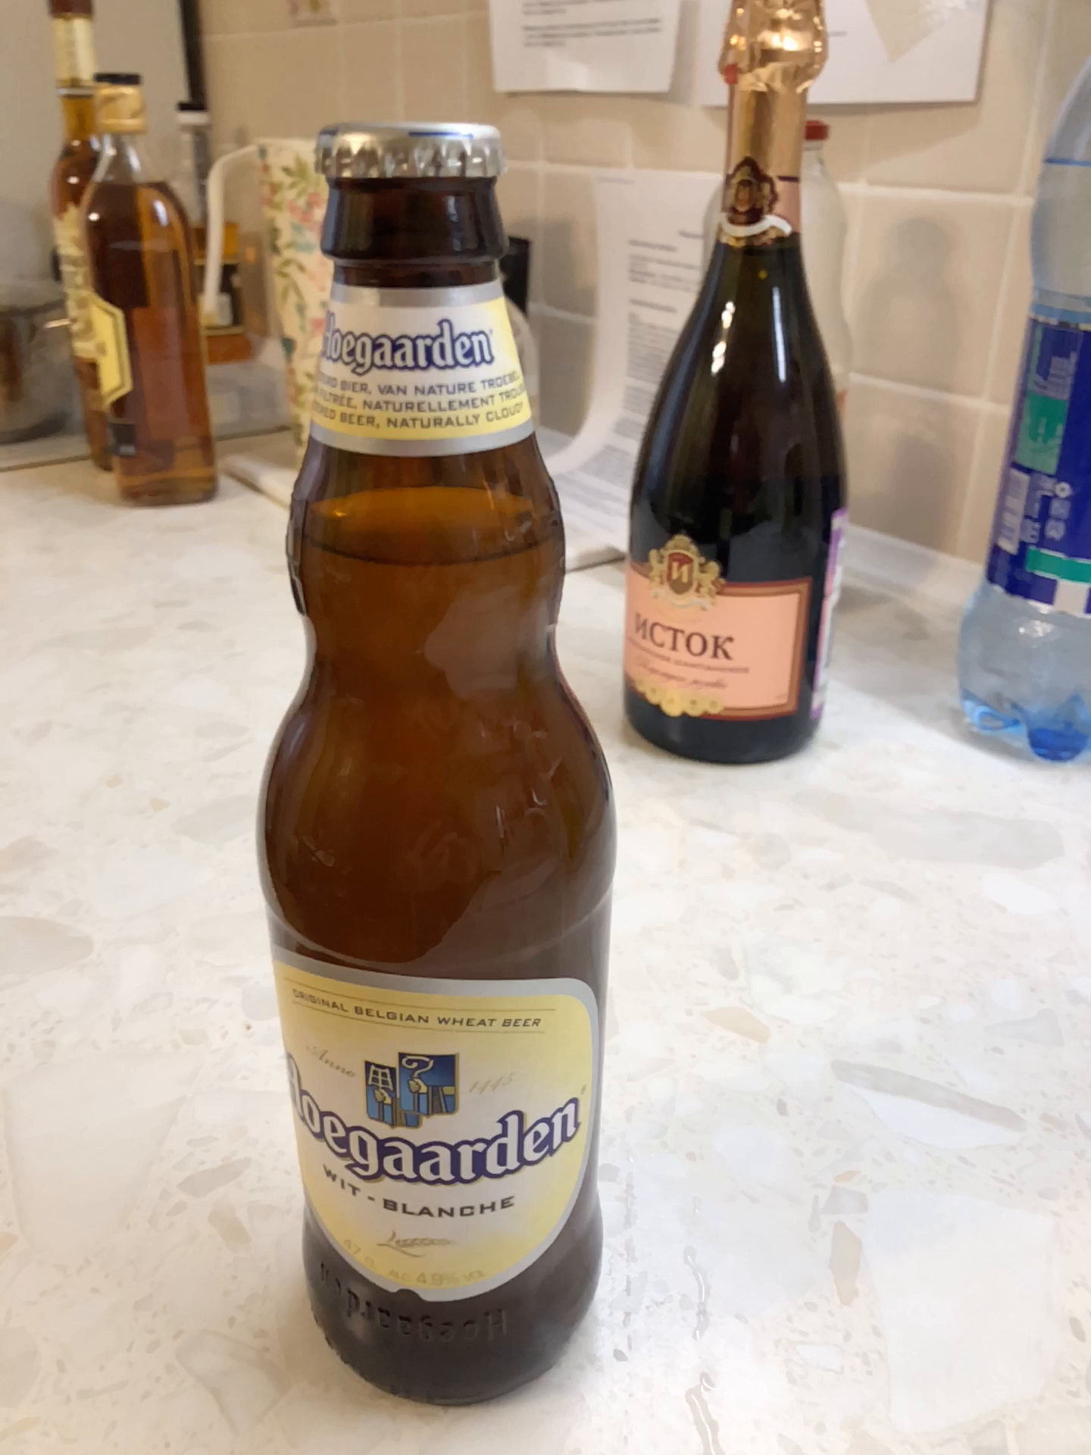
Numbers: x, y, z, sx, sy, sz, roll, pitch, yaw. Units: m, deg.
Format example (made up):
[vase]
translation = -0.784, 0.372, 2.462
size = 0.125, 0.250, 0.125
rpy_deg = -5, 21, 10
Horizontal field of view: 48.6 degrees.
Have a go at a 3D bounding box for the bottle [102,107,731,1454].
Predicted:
[bottle]
translation = -0.014, 0.021, 0.233
size = 0.070, 0.248, 0.081
rpy_deg = 7, 27, 12
